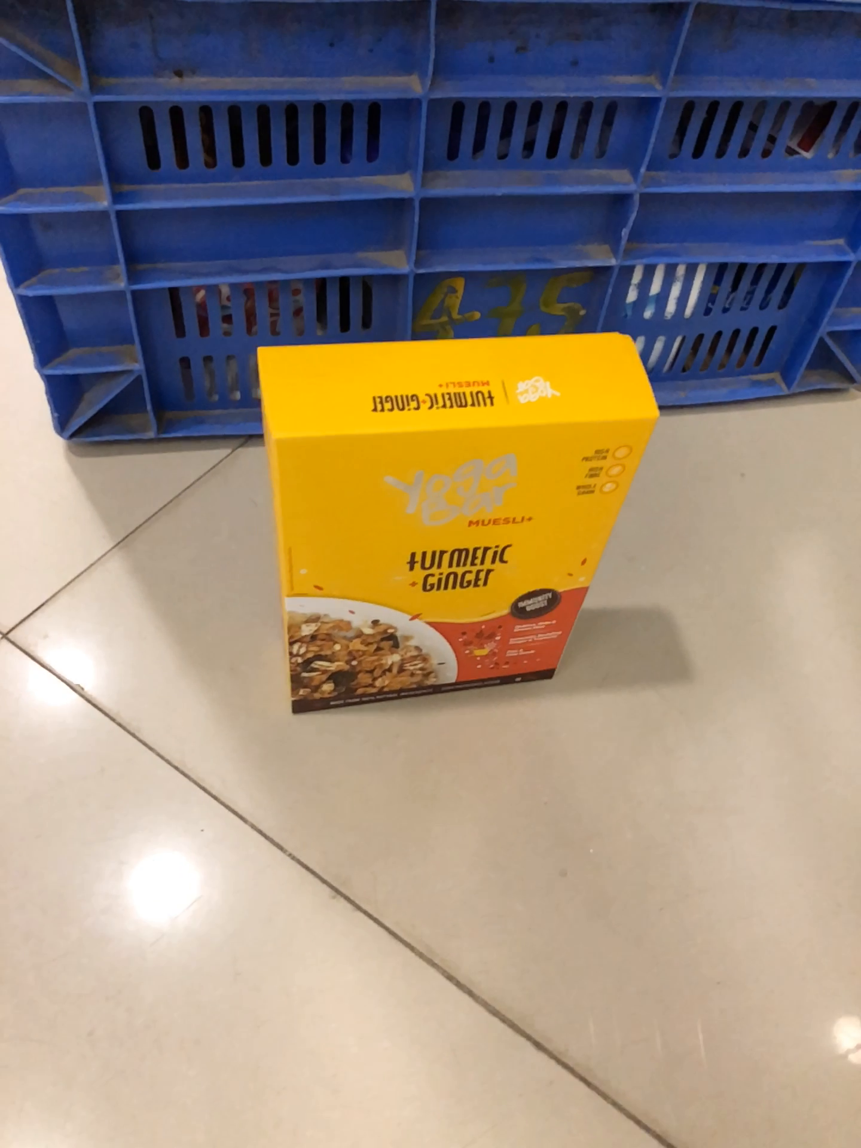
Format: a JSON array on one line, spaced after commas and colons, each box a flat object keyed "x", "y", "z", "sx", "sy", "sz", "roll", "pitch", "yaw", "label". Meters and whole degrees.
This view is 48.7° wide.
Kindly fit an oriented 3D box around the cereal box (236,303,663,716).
[{"x": -0.002, "y": -0.020, "z": 0.486, "sx": 0.170, "sy": 0.229, "sz": 0.060, "roll": -6, "pitch": 54, "yaw": -10, "label": "cereal box"}]
